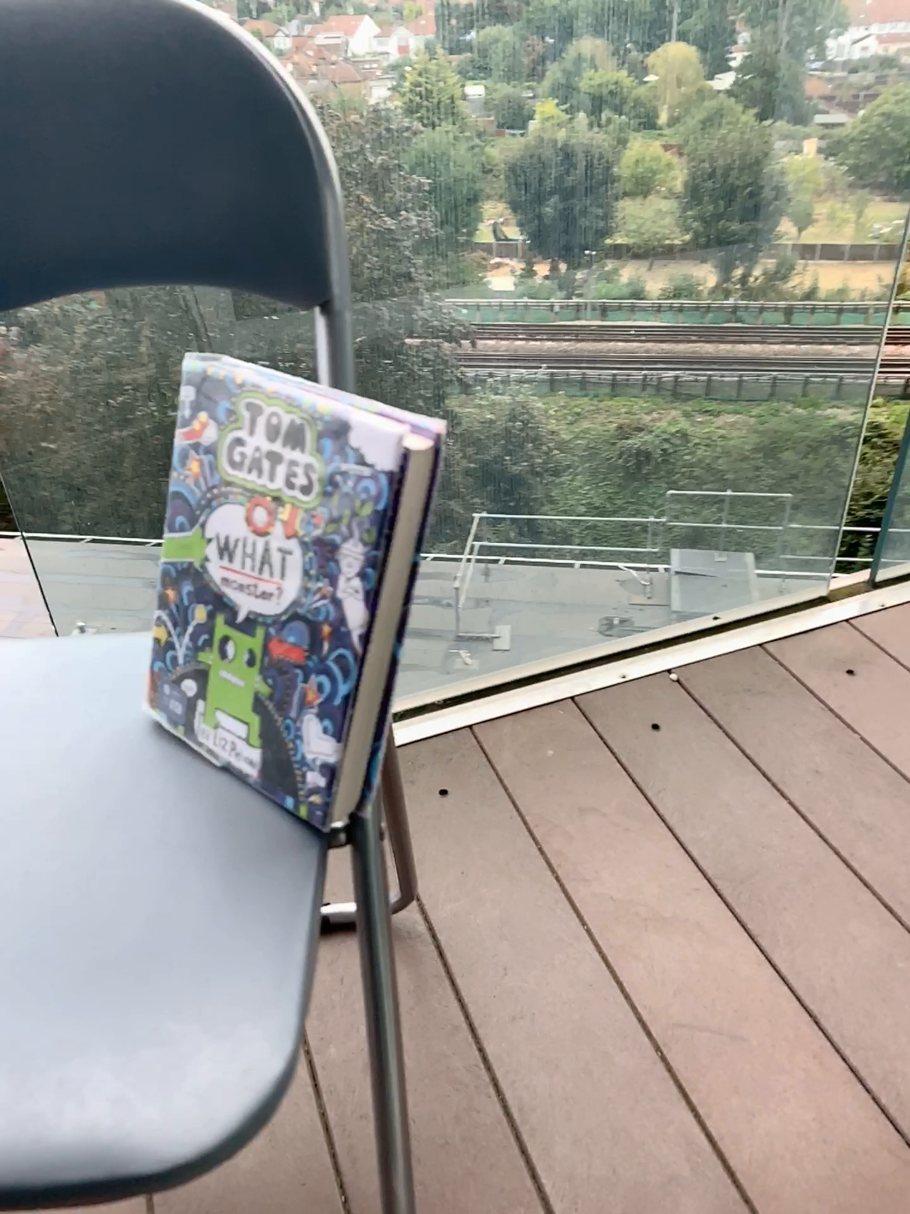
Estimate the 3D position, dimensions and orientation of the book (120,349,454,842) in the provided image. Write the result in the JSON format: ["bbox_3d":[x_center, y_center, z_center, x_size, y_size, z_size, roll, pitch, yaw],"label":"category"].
[{"bbox_3d":[-0.095,-0.013,0.468,0.161,0.199,0.050,23,21,33],"label":"book"}]
